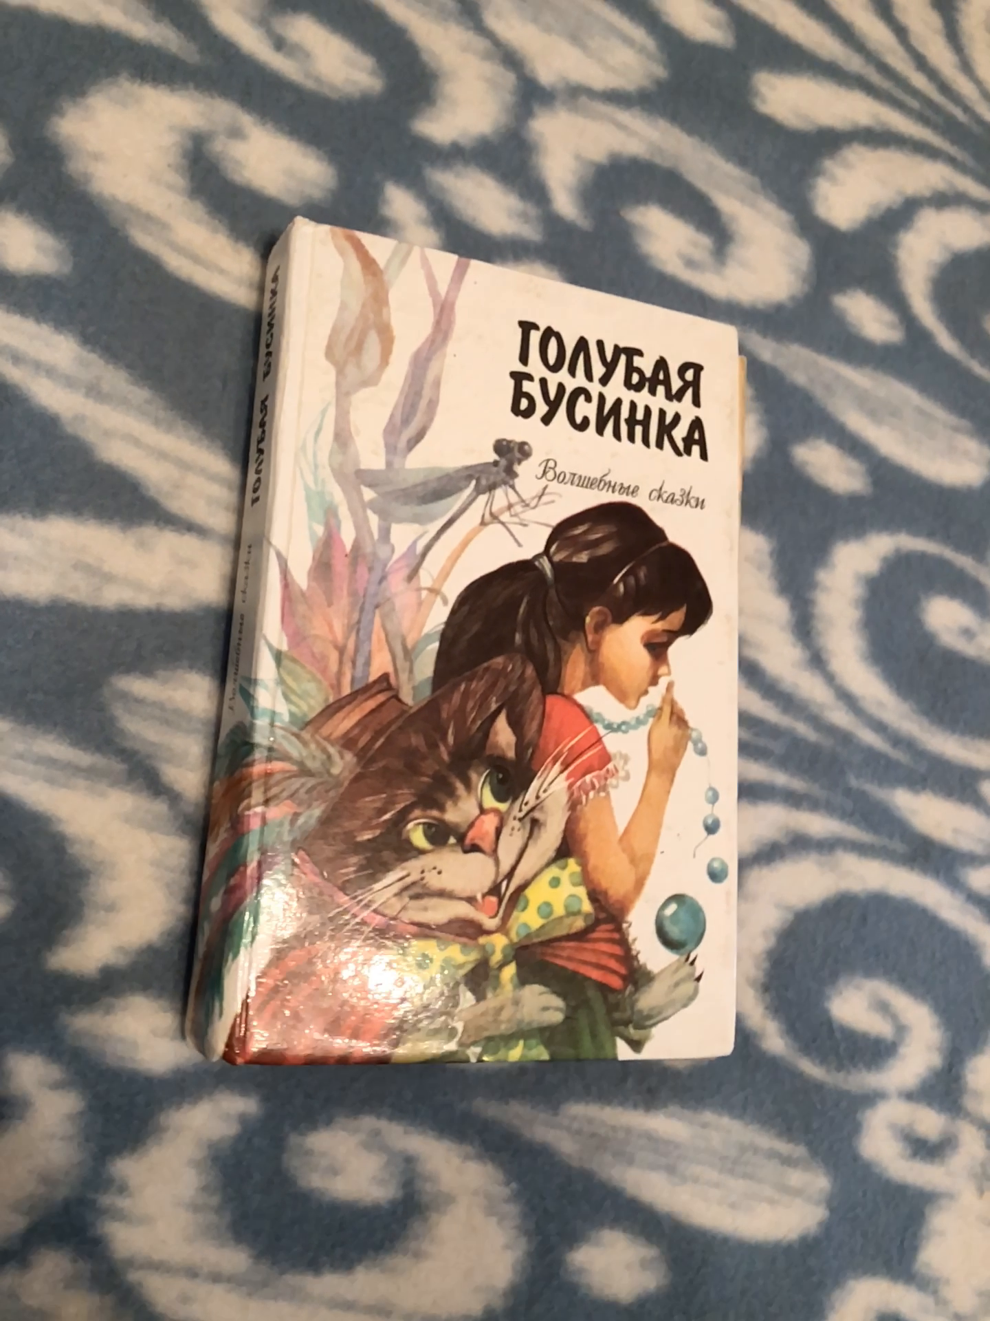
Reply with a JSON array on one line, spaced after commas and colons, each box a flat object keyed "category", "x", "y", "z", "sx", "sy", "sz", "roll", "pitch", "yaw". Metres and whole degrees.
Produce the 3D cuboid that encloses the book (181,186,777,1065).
[{"category": "book", "x": 0.003, "y": -0.005, "z": 0.296, "sx": 0.145, "sy": 0.040, "sz": 0.206, "roll": 7, "pitch": 79, "yaw": -20}]
